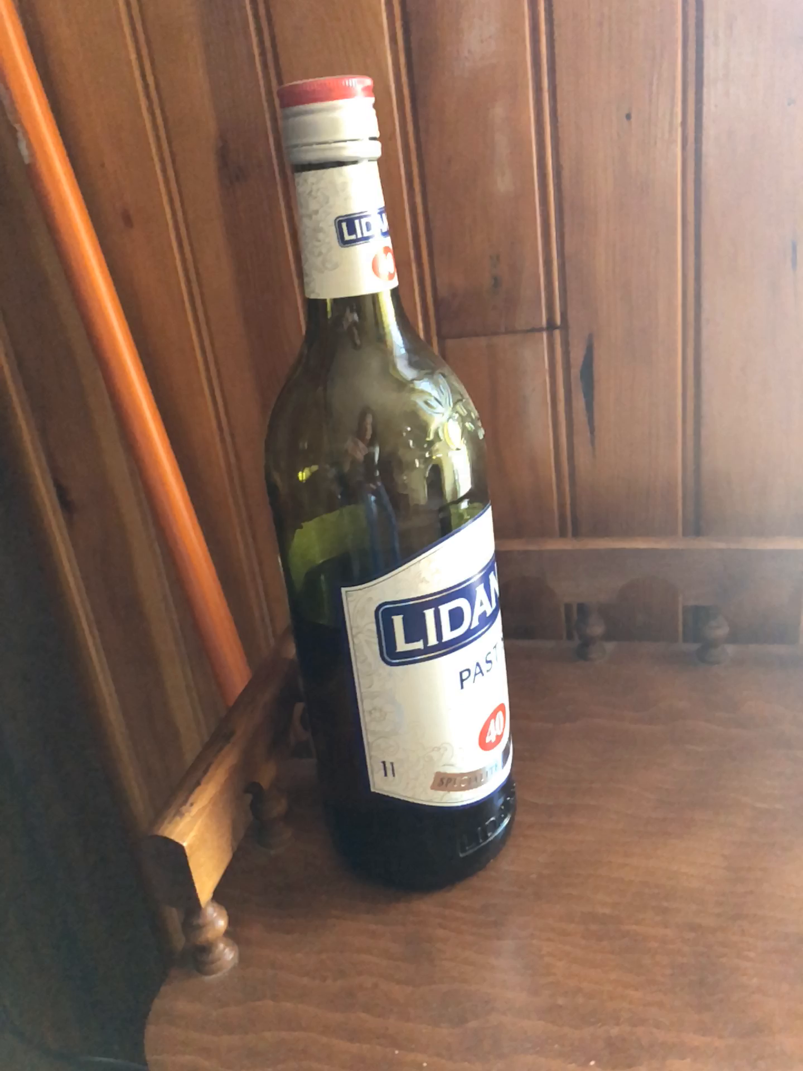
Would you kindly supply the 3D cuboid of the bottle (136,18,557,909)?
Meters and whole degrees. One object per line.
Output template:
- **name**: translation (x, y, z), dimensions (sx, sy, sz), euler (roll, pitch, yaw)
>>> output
- **bottle**: translation (-0.004, -0.016, 0.335), dimensions (0.080, 0.298, 0.091), euler (8, 28, 32)
